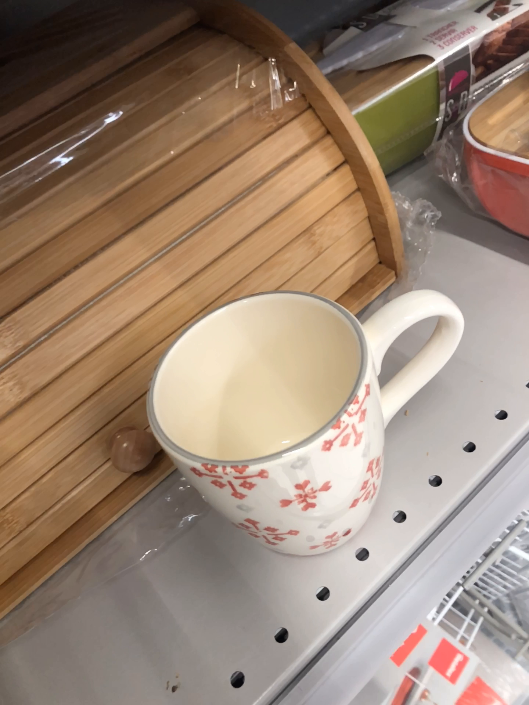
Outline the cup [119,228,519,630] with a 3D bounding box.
[{"bbox_3d":[0.024,0.030,0.252,0.124,0.089,0.090,-28,46,-7],"label":"cup"}]
